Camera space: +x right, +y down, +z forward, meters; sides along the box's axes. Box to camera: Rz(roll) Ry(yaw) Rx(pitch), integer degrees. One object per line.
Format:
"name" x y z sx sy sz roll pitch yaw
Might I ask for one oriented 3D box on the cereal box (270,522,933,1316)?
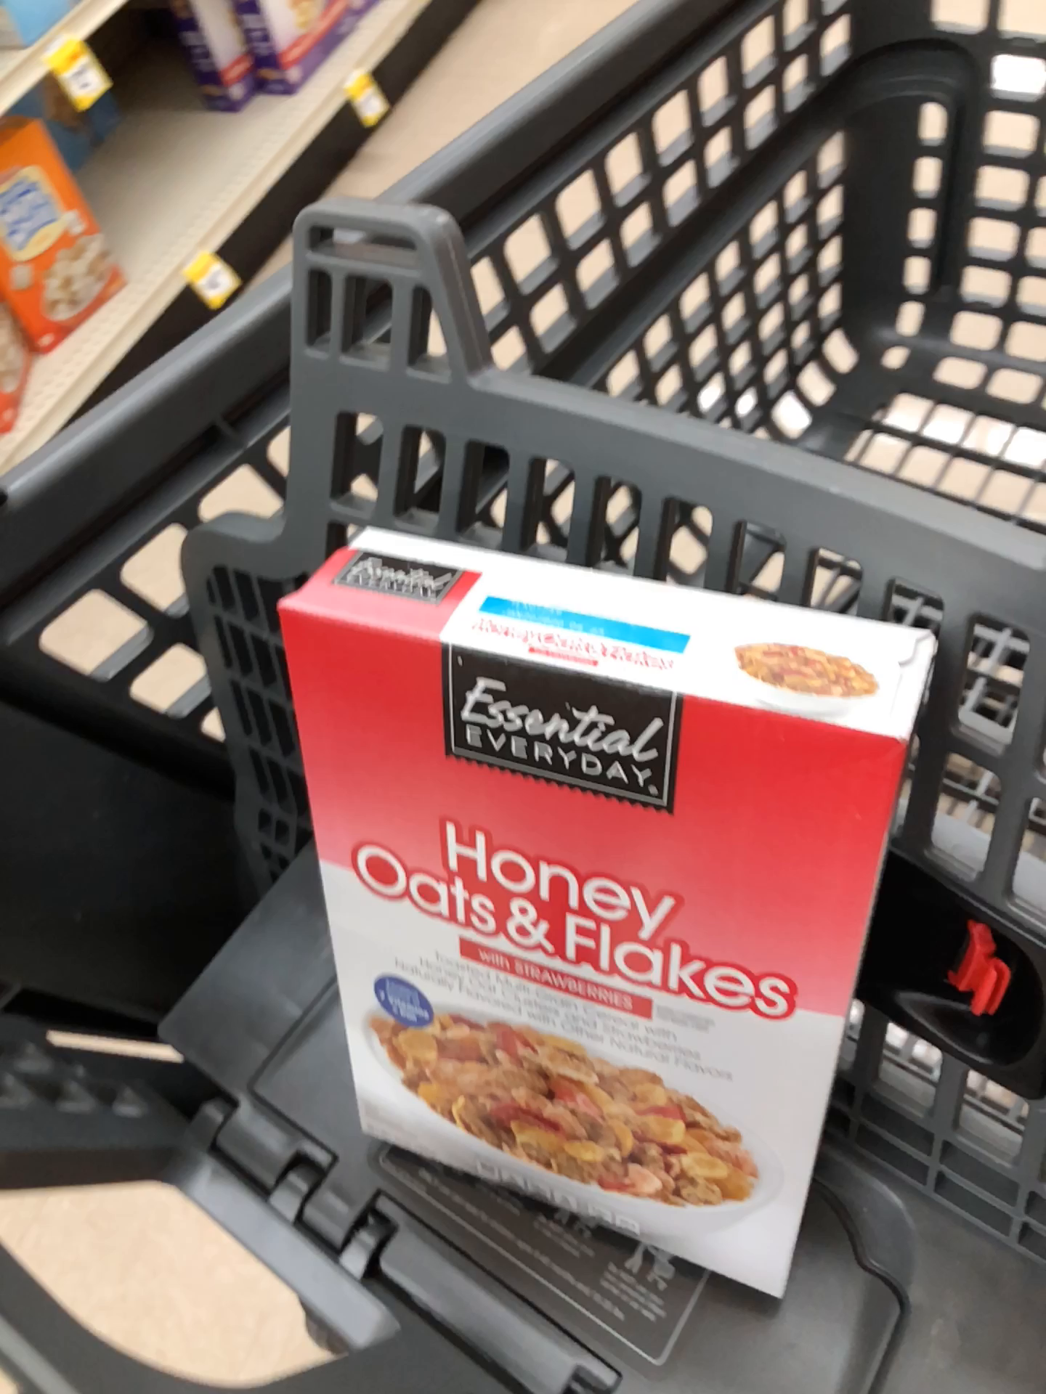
"cereal box" 0.022 0.084 0.405 0.180 0.260 0.060 13 36 20
